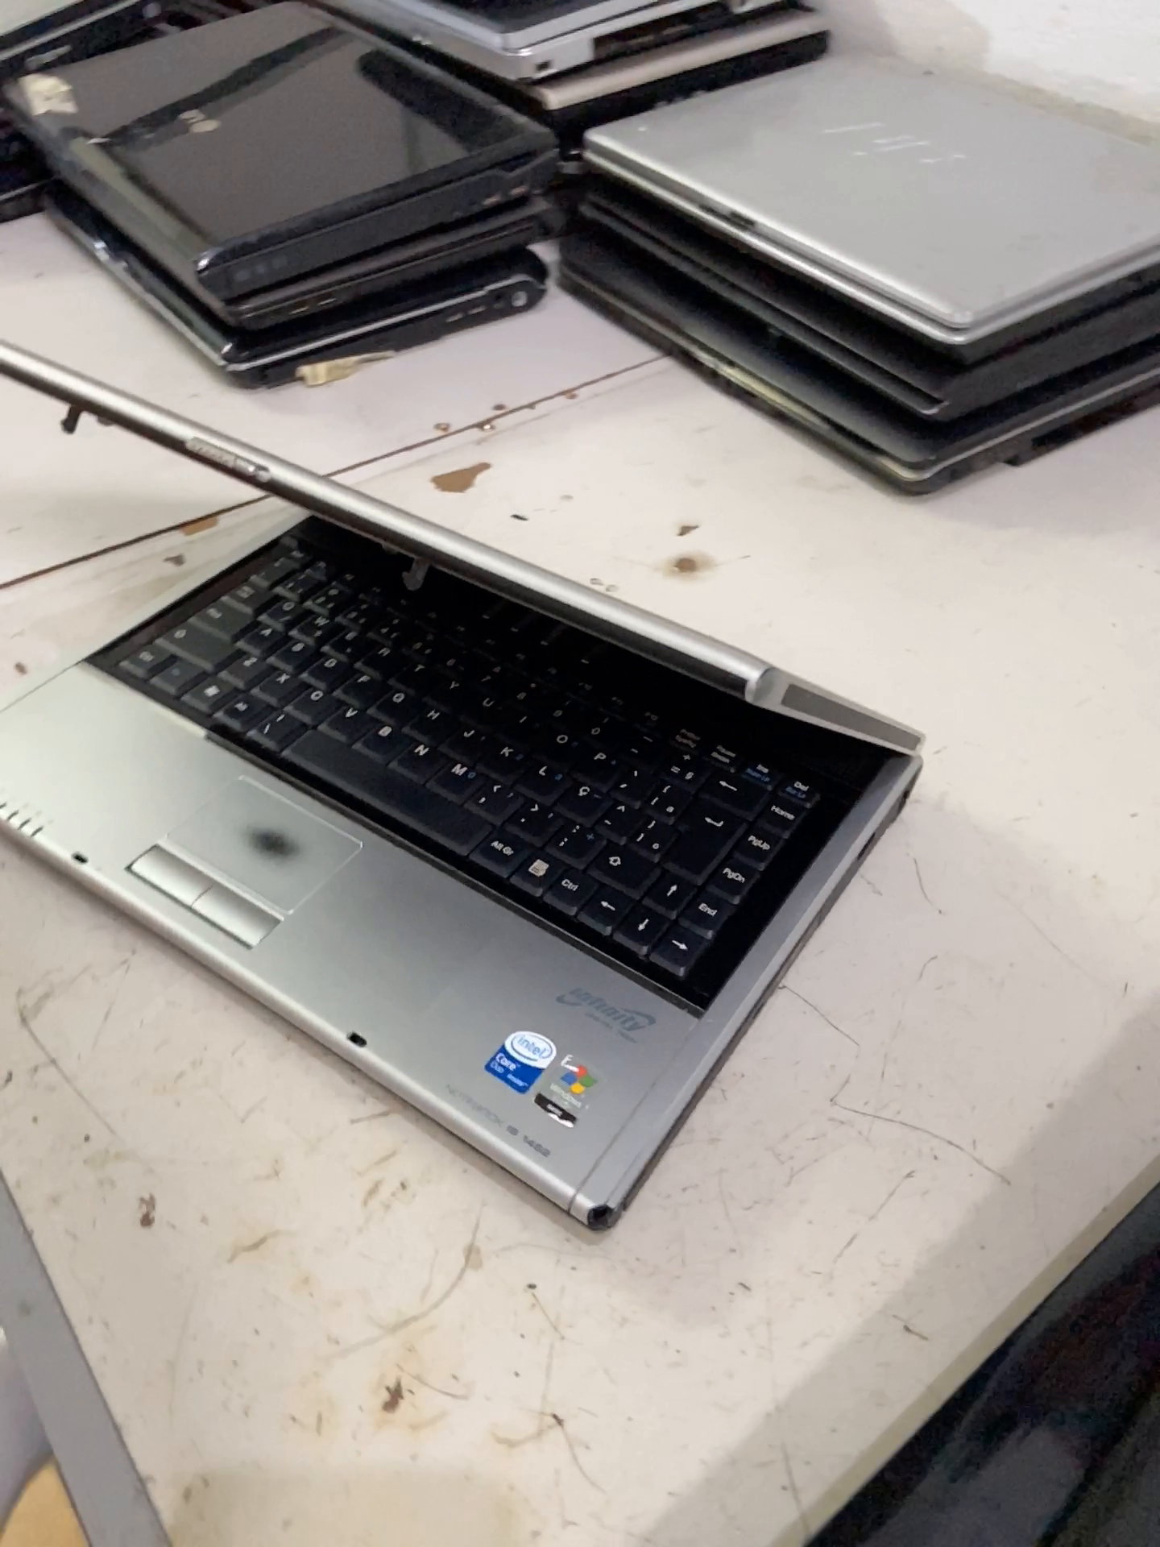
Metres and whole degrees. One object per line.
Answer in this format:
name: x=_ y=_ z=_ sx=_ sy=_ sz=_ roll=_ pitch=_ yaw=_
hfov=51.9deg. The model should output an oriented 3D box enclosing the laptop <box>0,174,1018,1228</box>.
laptop: x=-0.065 y=-0.060 z=0.423 sx=0.331 sy=0.164 sz=0.228 roll=26 pitch=50 yaw=24
